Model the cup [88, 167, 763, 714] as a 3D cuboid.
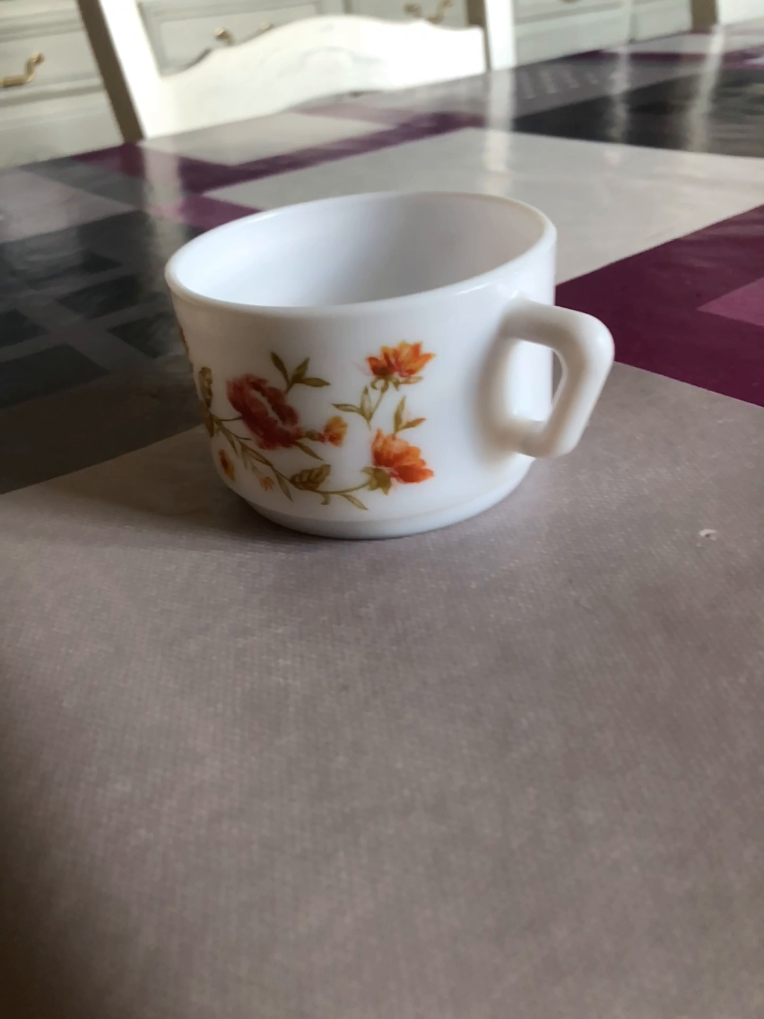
[{"bbox_3d":[0.009,-0.028,0.167,0.080,0.050,0.110,-28,38,-30],"label":"cup"}]
